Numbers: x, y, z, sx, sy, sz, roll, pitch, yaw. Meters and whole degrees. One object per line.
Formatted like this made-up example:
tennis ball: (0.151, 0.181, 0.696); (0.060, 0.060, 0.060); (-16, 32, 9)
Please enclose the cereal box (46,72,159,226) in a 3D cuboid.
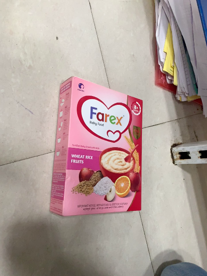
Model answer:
cereal box: (0.010, 0.022, 0.329); (0.171, 0.050, 0.190); (10, 78, -36)
